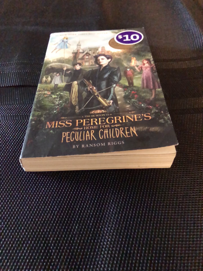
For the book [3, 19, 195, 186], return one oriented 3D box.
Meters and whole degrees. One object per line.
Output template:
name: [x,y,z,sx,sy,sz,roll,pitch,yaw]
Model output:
book: [-0.003,-0.059,0.278,0.160,0.050,0.231,-2,52,1]
